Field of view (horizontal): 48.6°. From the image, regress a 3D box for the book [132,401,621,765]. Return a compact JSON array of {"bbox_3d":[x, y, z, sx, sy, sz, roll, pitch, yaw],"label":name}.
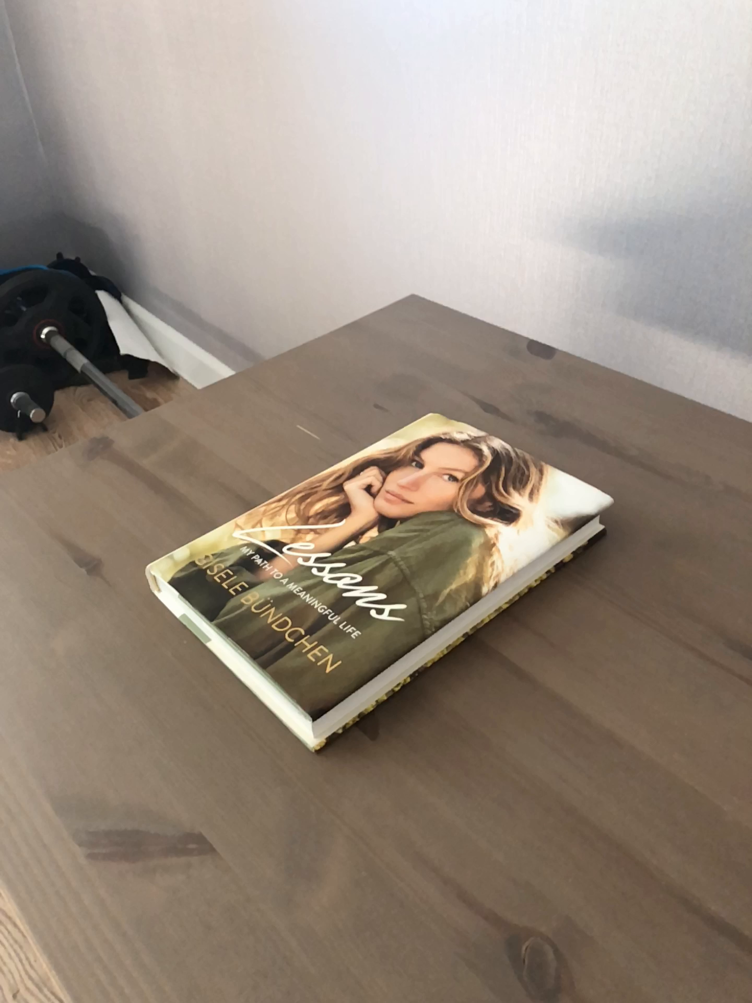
[{"bbox_3d":[0.004,0.026,0.479,0.227,0.030,0.160,-30,45,-31],"label":"book"}]
